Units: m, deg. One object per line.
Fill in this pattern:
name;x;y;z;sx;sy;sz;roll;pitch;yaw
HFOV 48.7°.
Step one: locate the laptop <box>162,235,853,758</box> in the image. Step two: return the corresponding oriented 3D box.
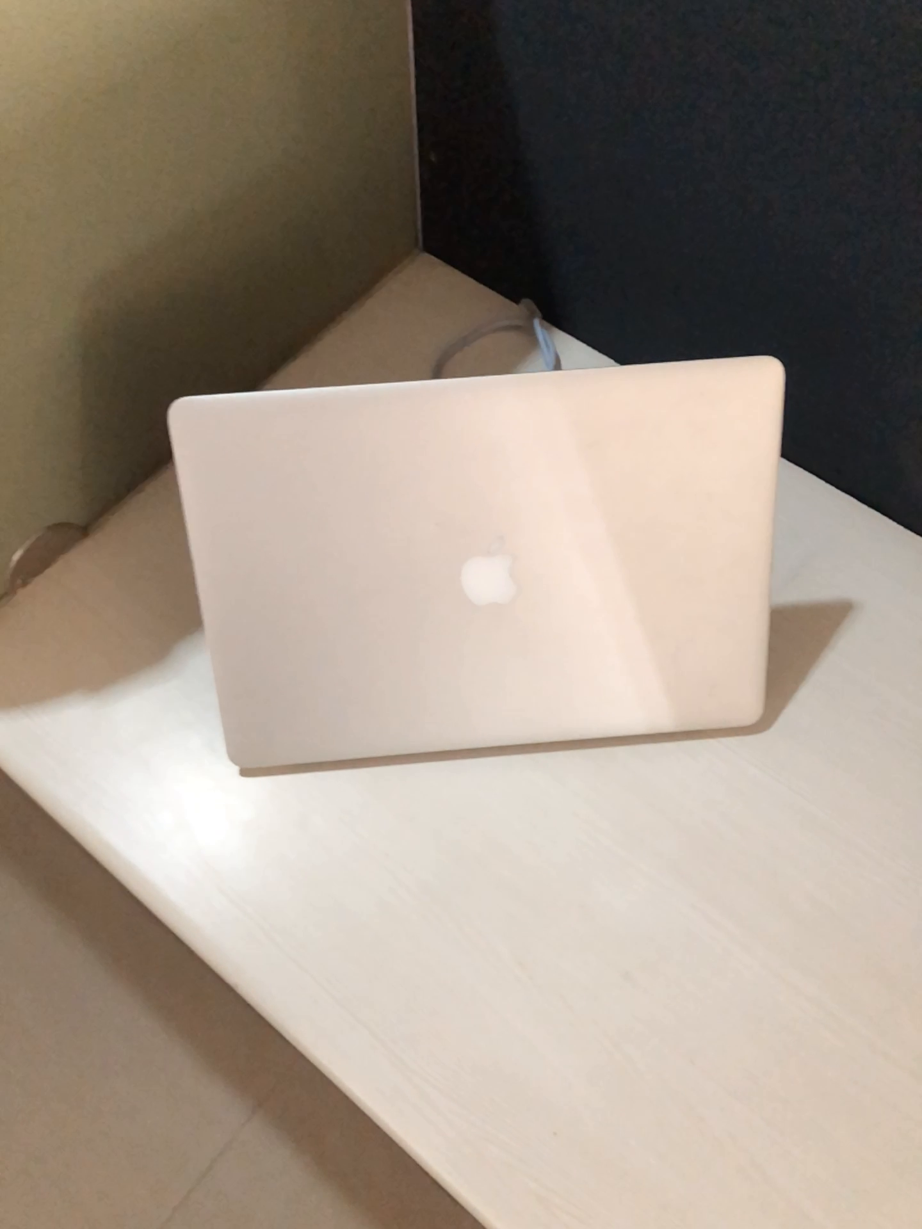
laptop;0.015;-0.070;0.645;0.343;0.198;0.235;-4;61;-3
